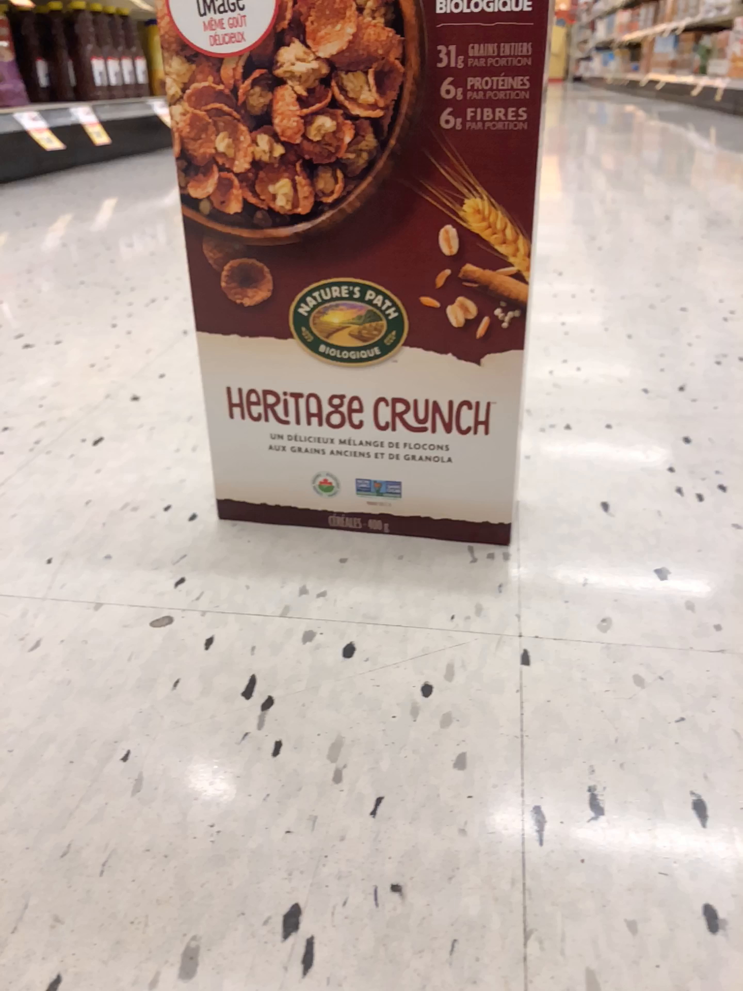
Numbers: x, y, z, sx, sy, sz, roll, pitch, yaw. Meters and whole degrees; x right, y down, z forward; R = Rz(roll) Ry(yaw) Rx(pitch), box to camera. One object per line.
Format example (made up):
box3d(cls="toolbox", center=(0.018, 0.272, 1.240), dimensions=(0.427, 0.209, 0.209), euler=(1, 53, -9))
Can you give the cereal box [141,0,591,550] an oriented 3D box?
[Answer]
box3d(cls="cereal box", center=(0.002, -0.105, 0.387), dimensions=(0.170, 0.249, 0.060), euler=(4, 27, 11))
